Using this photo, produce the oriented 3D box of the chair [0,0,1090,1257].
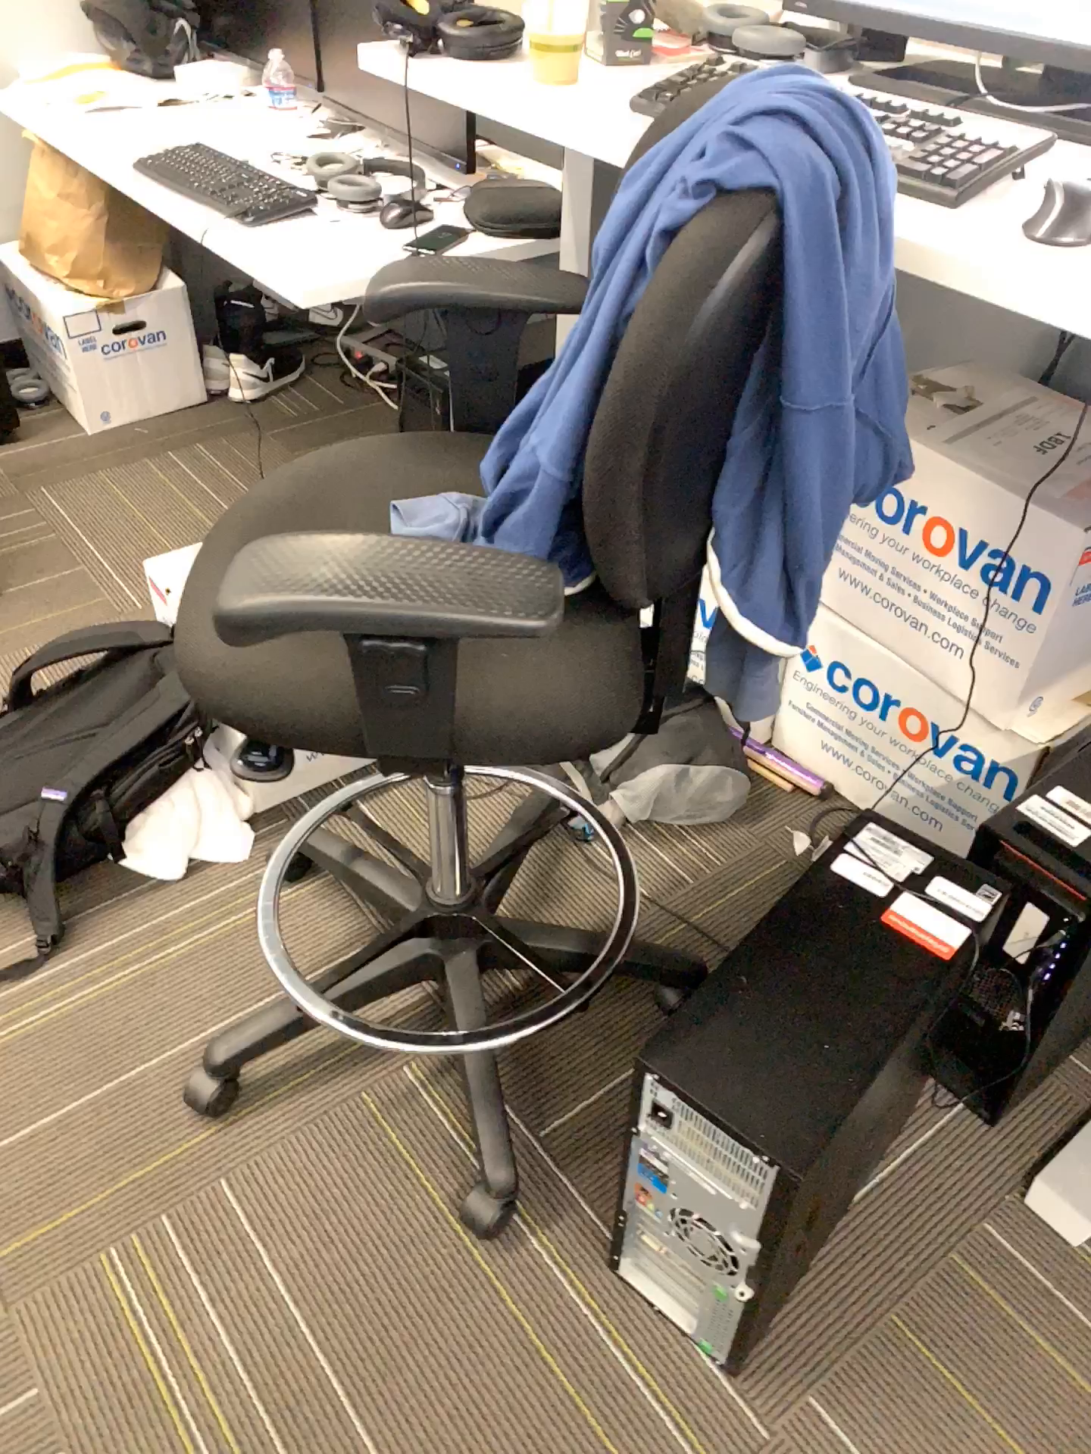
[{"bbox_3d":[-0.088,-0.078,1.186,0.740,1.104,0.754,-1,41,-4],"label":"chair"}]
